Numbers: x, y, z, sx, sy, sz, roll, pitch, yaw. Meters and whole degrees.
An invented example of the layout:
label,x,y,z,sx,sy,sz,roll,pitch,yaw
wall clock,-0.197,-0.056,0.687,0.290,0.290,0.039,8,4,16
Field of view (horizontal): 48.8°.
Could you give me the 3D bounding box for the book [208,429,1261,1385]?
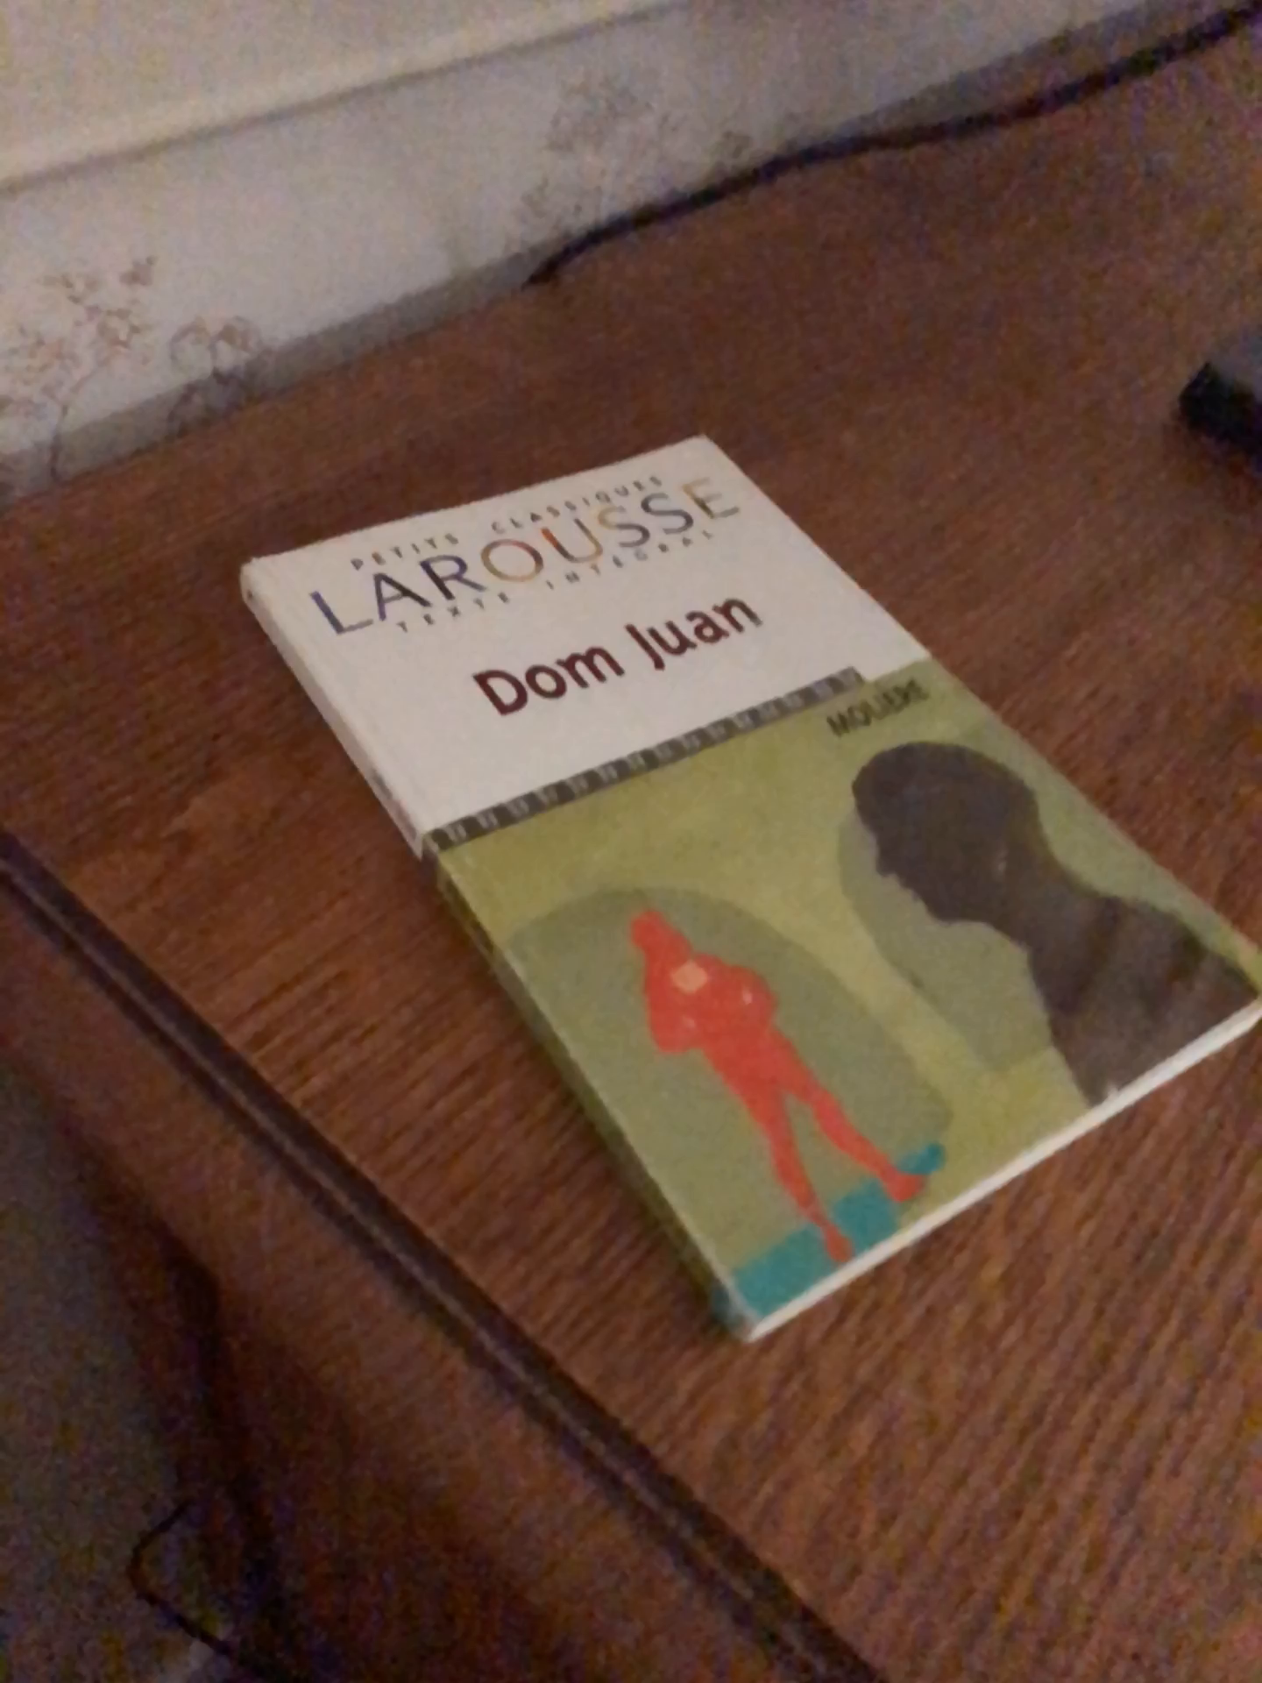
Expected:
label,x,y,z,sx,sy,sz,roll,pitch,yaw
book,0.014,-0.011,0.254,0.115,0.010,0.180,-22,56,-26
